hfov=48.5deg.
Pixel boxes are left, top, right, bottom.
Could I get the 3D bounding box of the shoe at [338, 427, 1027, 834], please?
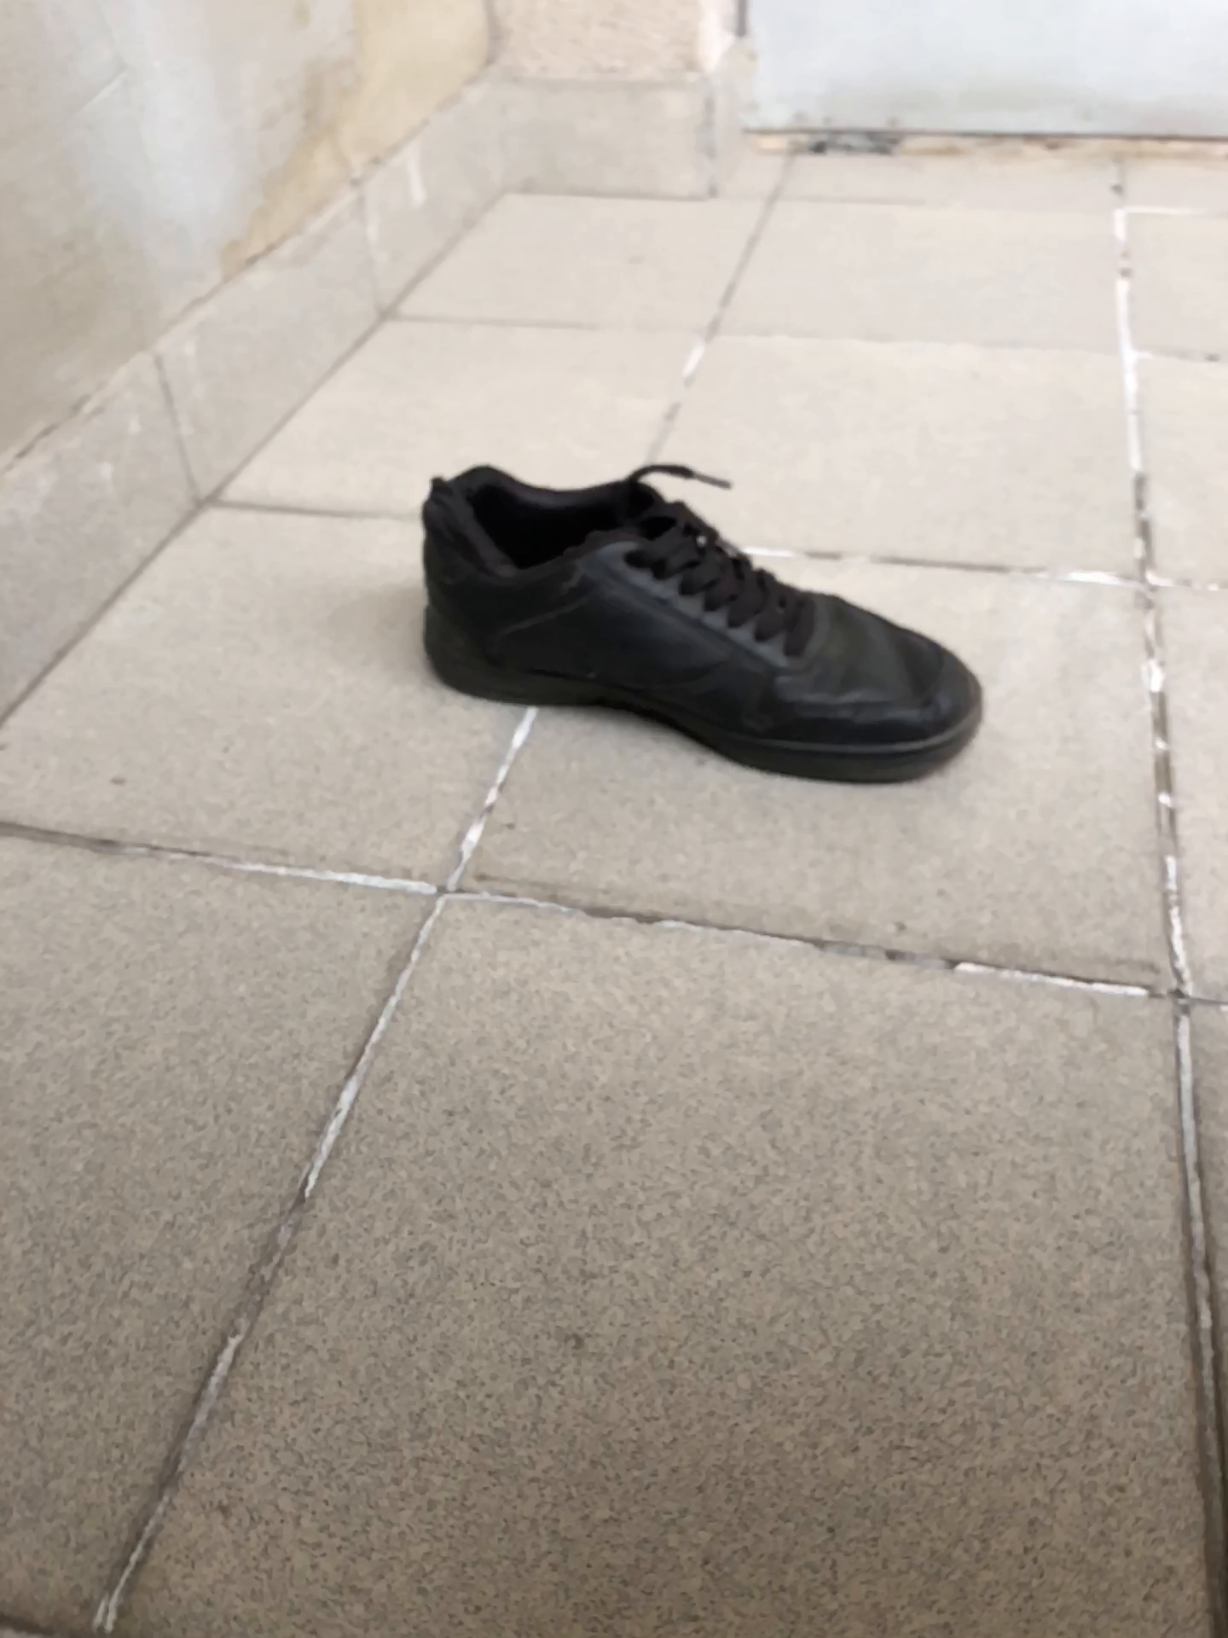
[{"bbox_3d":[0.031,-0.097,0.646,0.290,0.099,0.111,13,43,19],"label":"shoe"}]
